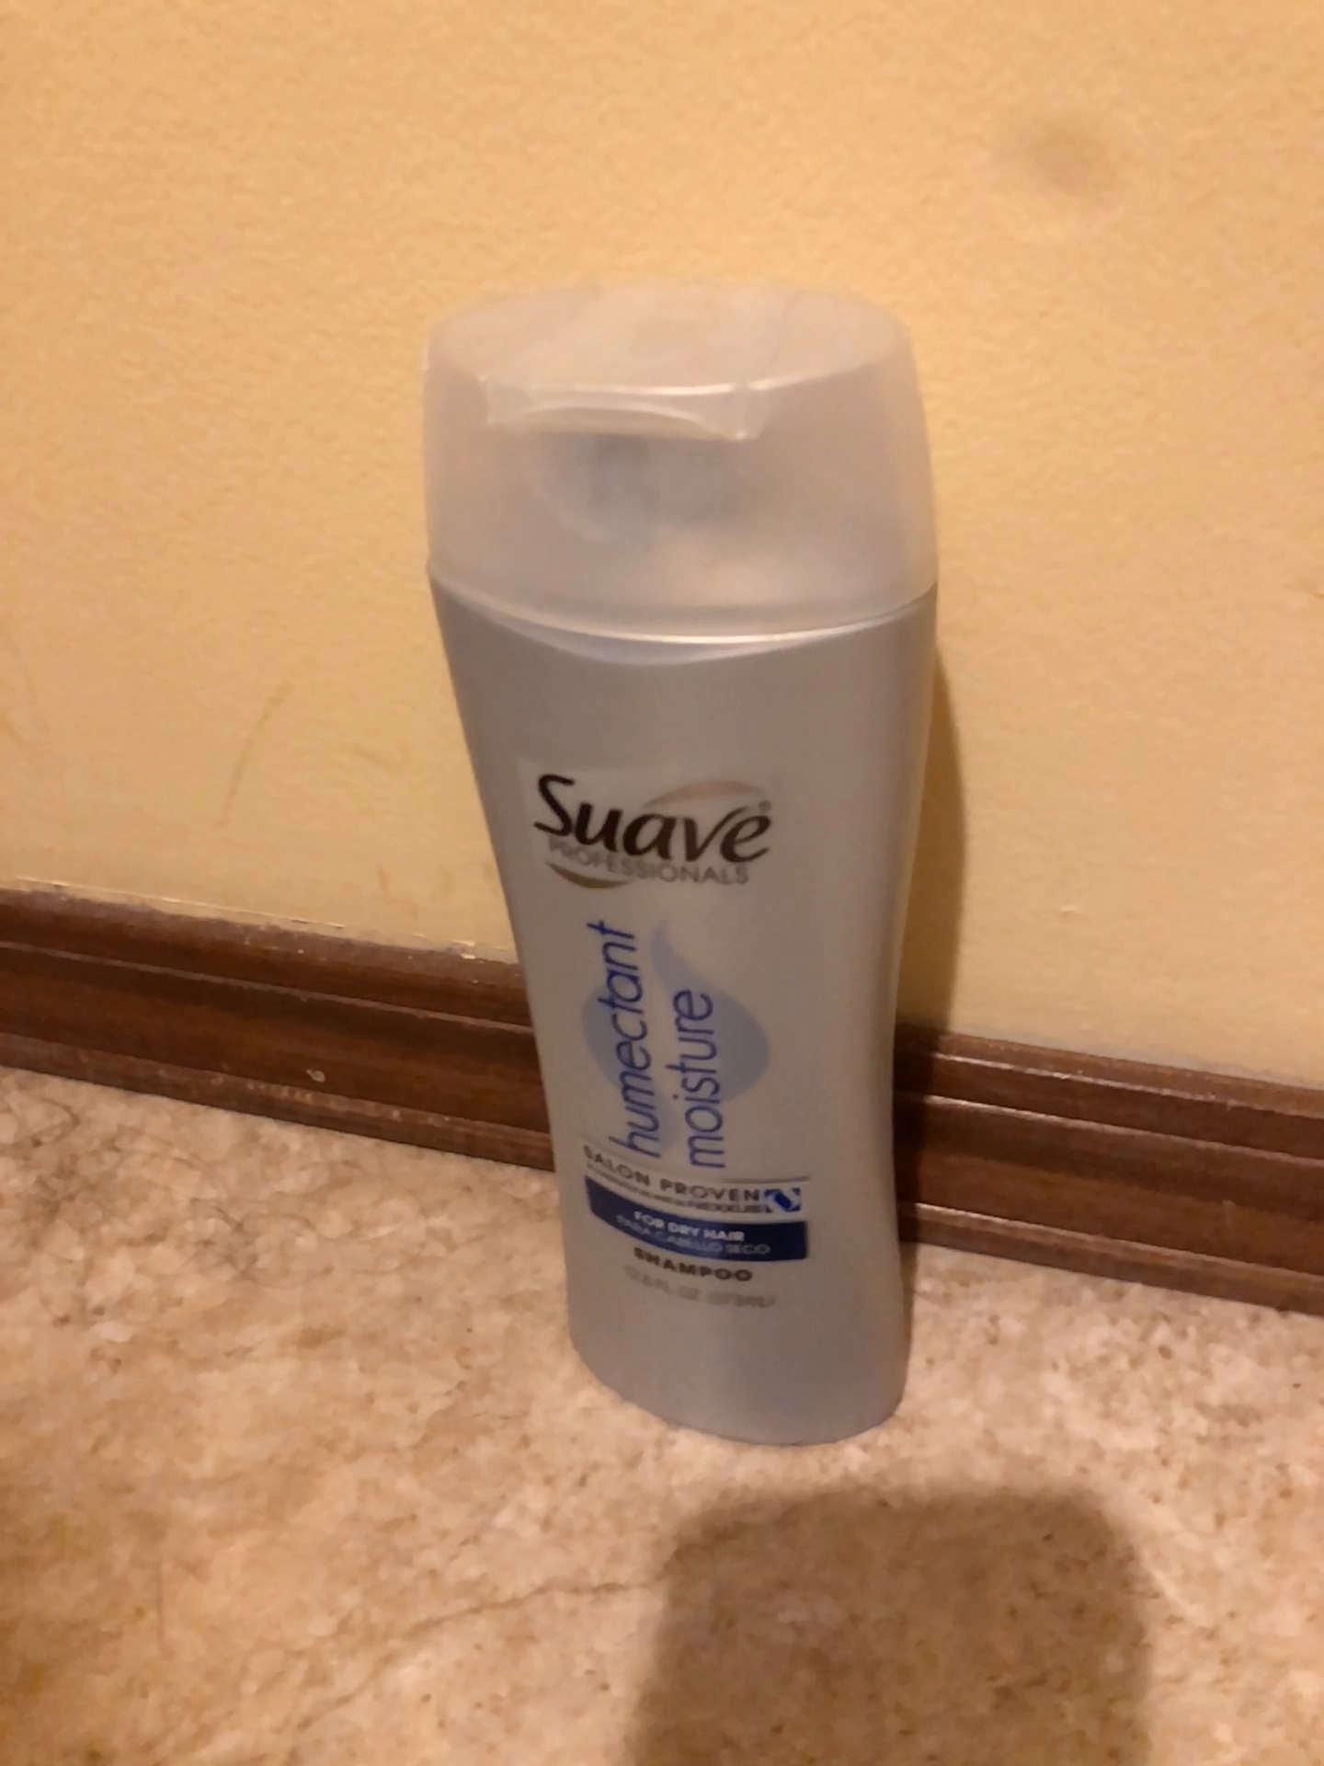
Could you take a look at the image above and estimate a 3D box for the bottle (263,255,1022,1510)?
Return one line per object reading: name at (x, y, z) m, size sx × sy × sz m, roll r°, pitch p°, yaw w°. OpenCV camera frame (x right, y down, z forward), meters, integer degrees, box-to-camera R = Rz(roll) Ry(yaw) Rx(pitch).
bottle at (0.007, 0.015, 0.240) m, size 0.080 × 0.209 × 0.050 m, roll 7°, pitch 39°, yaw 15°
